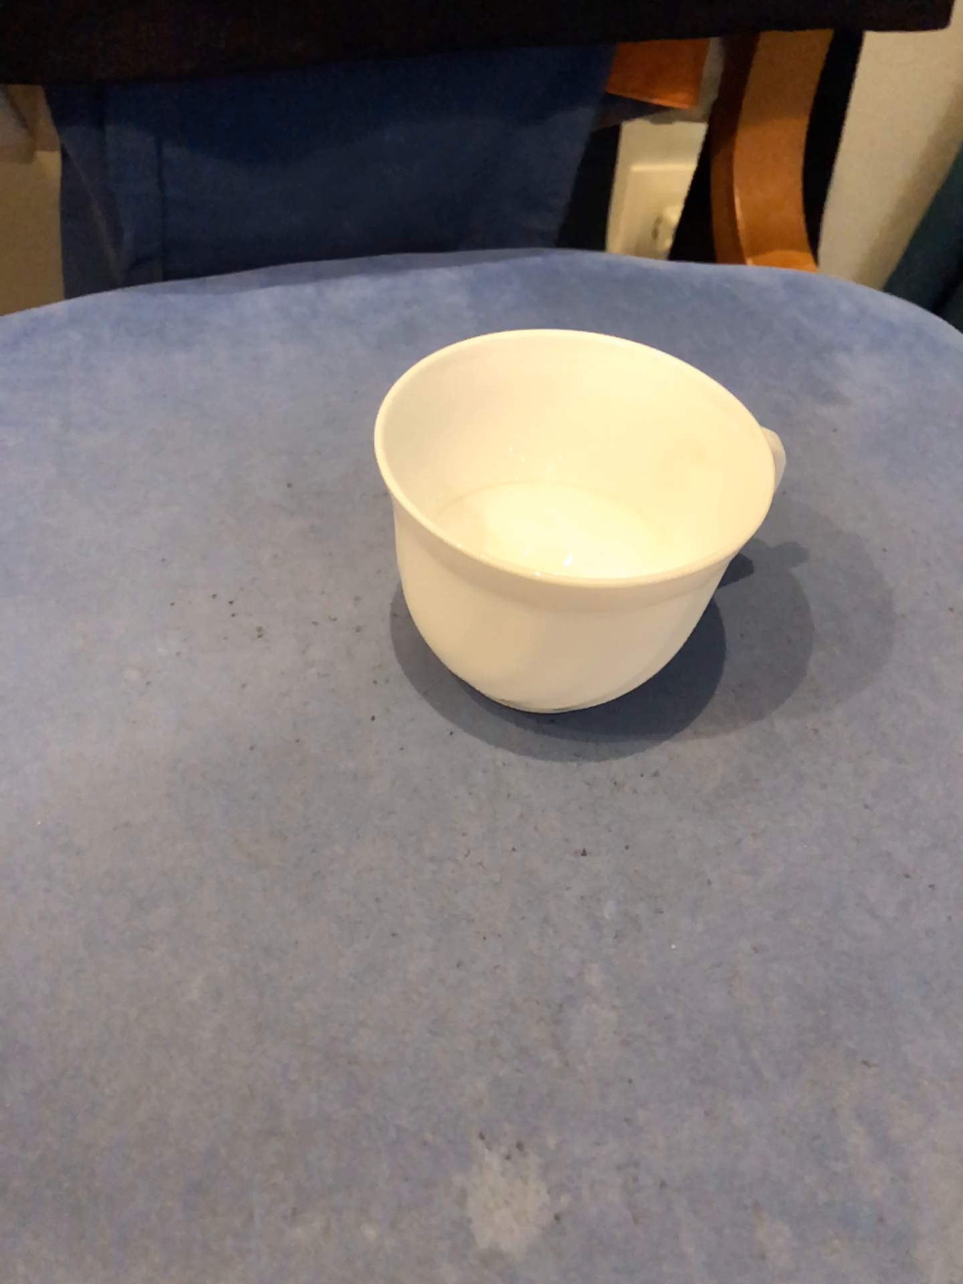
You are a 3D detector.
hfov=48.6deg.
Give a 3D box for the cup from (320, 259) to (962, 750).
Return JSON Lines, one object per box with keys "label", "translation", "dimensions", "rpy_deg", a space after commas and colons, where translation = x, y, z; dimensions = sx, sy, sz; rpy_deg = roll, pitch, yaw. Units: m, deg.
{"label": "cup", "translation": [0.033, -0.037, 0.244], "dimensions": [0.120, 0.050, 0.080], "rpy_deg": [-14, 52, -18]}
